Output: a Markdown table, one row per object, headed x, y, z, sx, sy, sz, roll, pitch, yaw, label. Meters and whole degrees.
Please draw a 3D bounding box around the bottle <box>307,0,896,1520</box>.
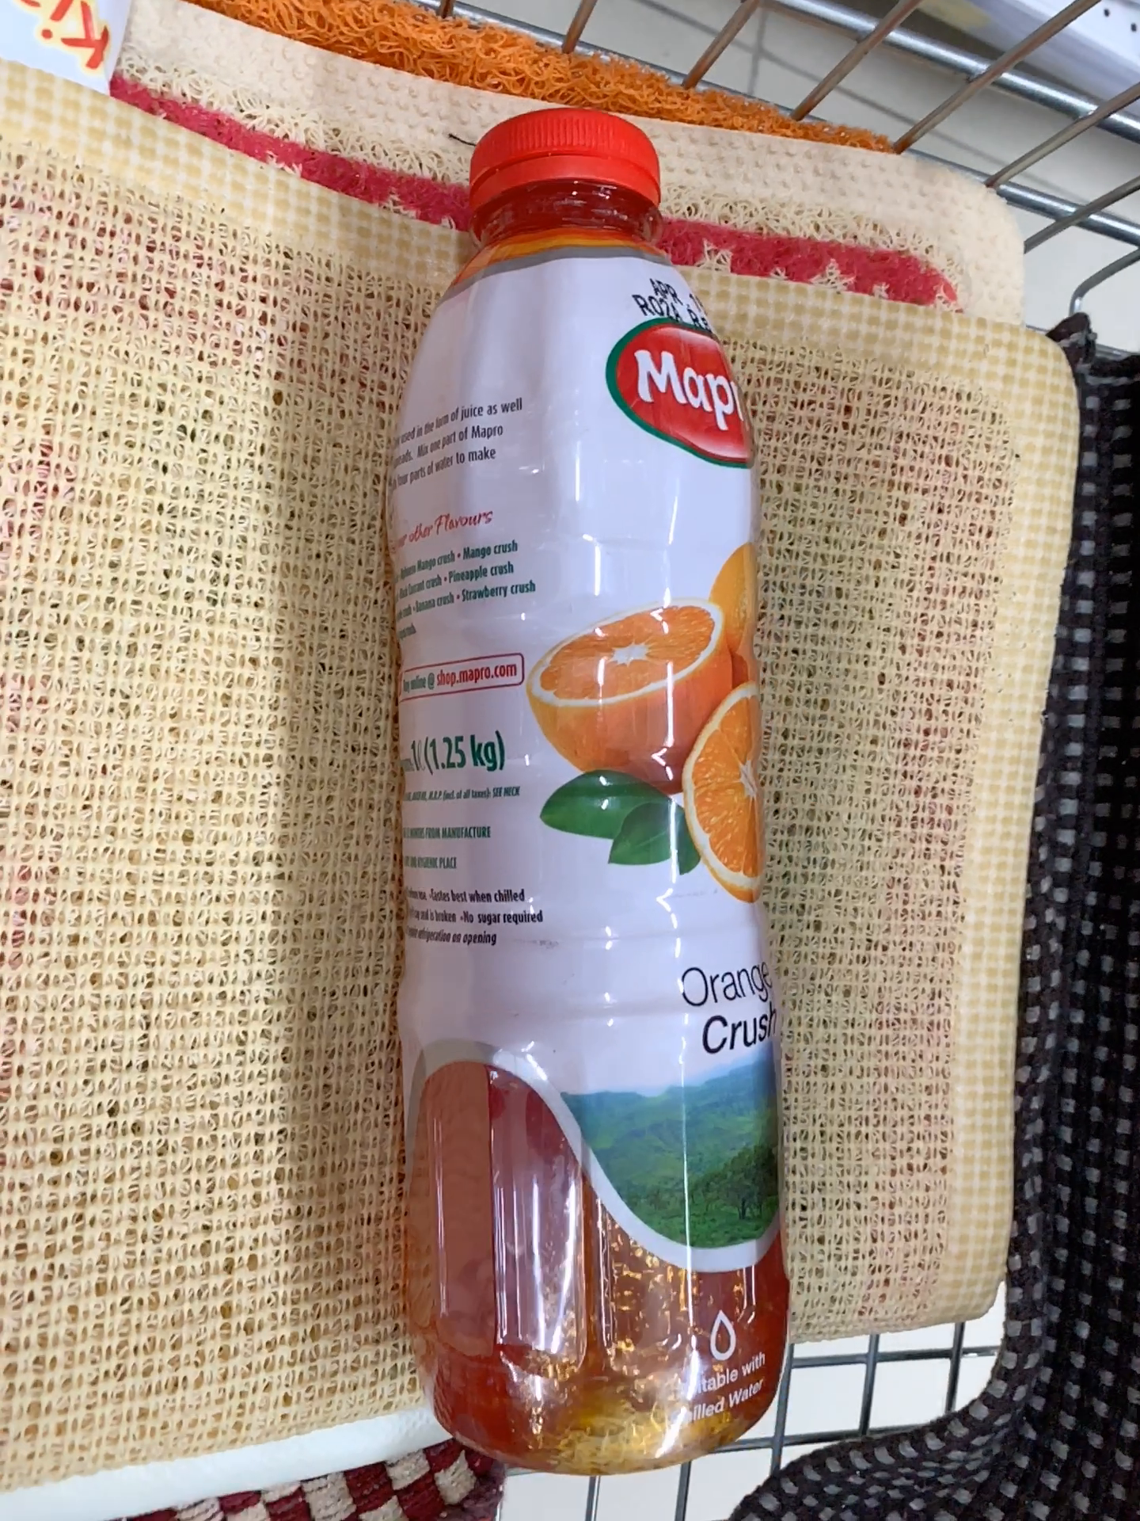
| x | y | z | sx | sy | sz | roll | pitch | yaw | label |
| --- | --- | --- | --- | --- | --- | --- | --- | --- | --- |
| 0.007 | -0.006 | 0.219 | 0.080 | 0.070 | 0.240 | 2 | 88 | -45 | bottle |
